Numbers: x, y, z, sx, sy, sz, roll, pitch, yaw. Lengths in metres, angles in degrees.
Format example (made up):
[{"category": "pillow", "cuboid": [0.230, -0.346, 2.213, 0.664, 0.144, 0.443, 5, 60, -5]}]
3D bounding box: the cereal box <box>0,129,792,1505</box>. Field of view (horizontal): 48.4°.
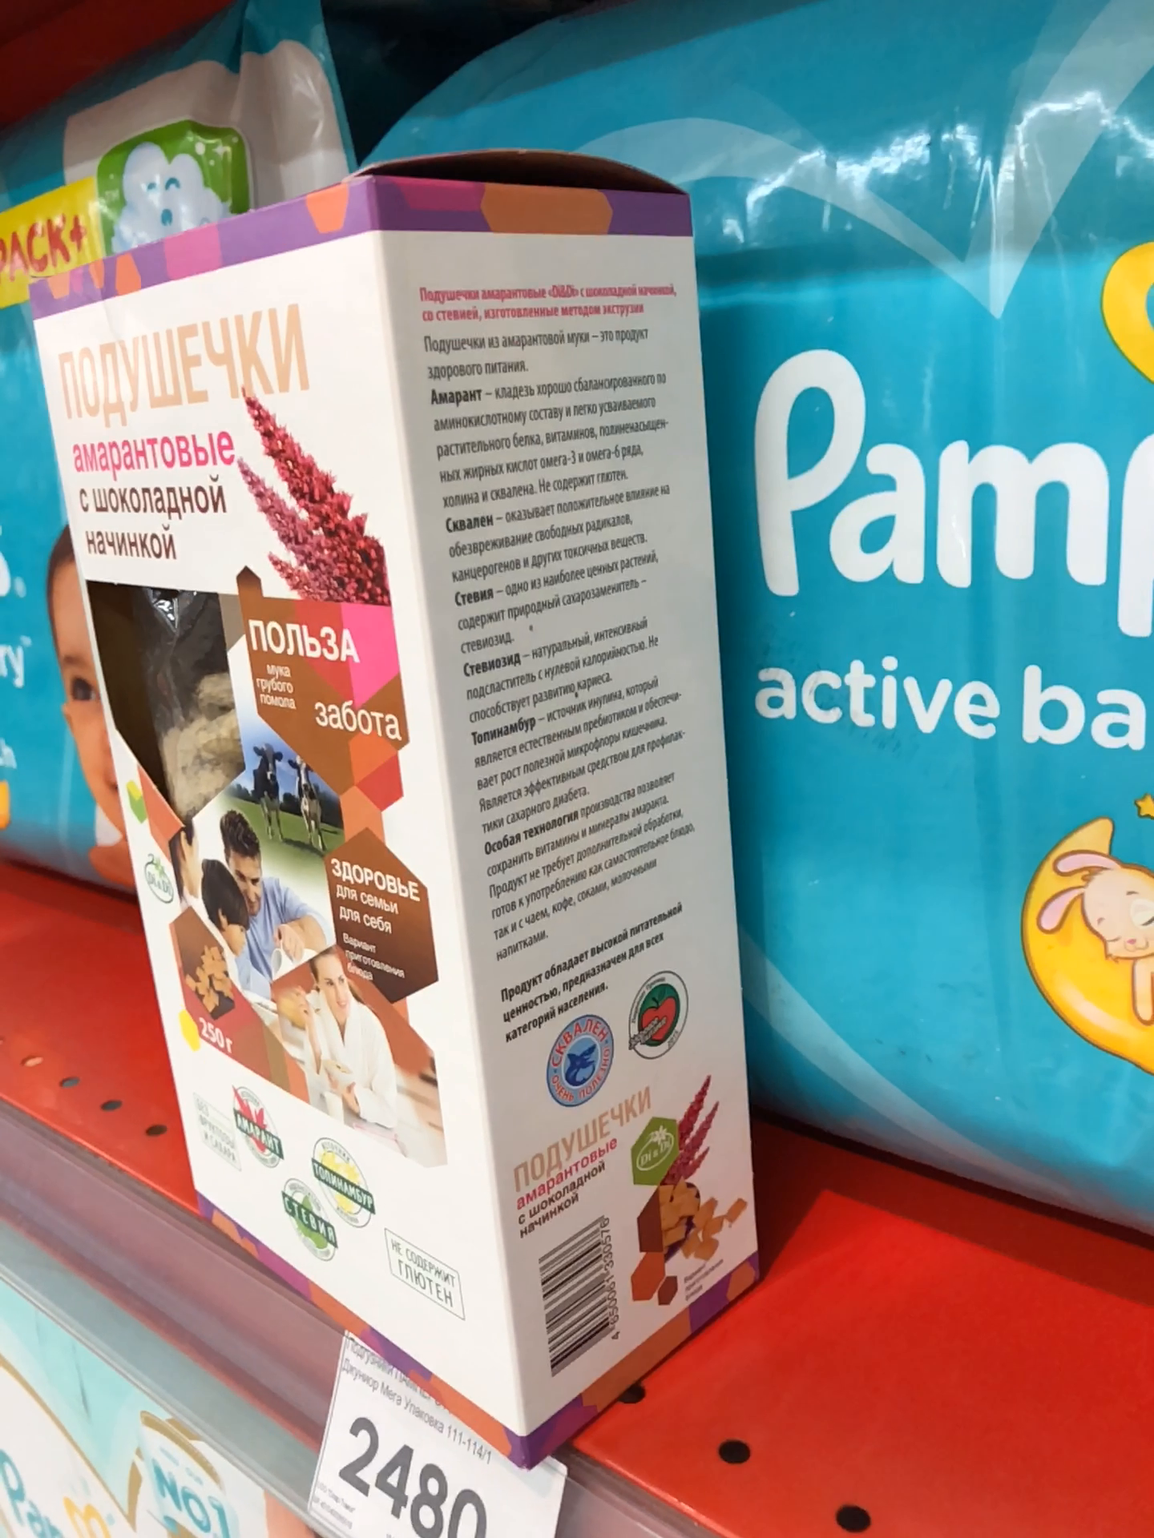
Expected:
[{"category": "cereal box", "cuboid": [-0.038, 0.004, 0.267, 0.070, 0.219, 0.140, -19, 21, -40]}]
